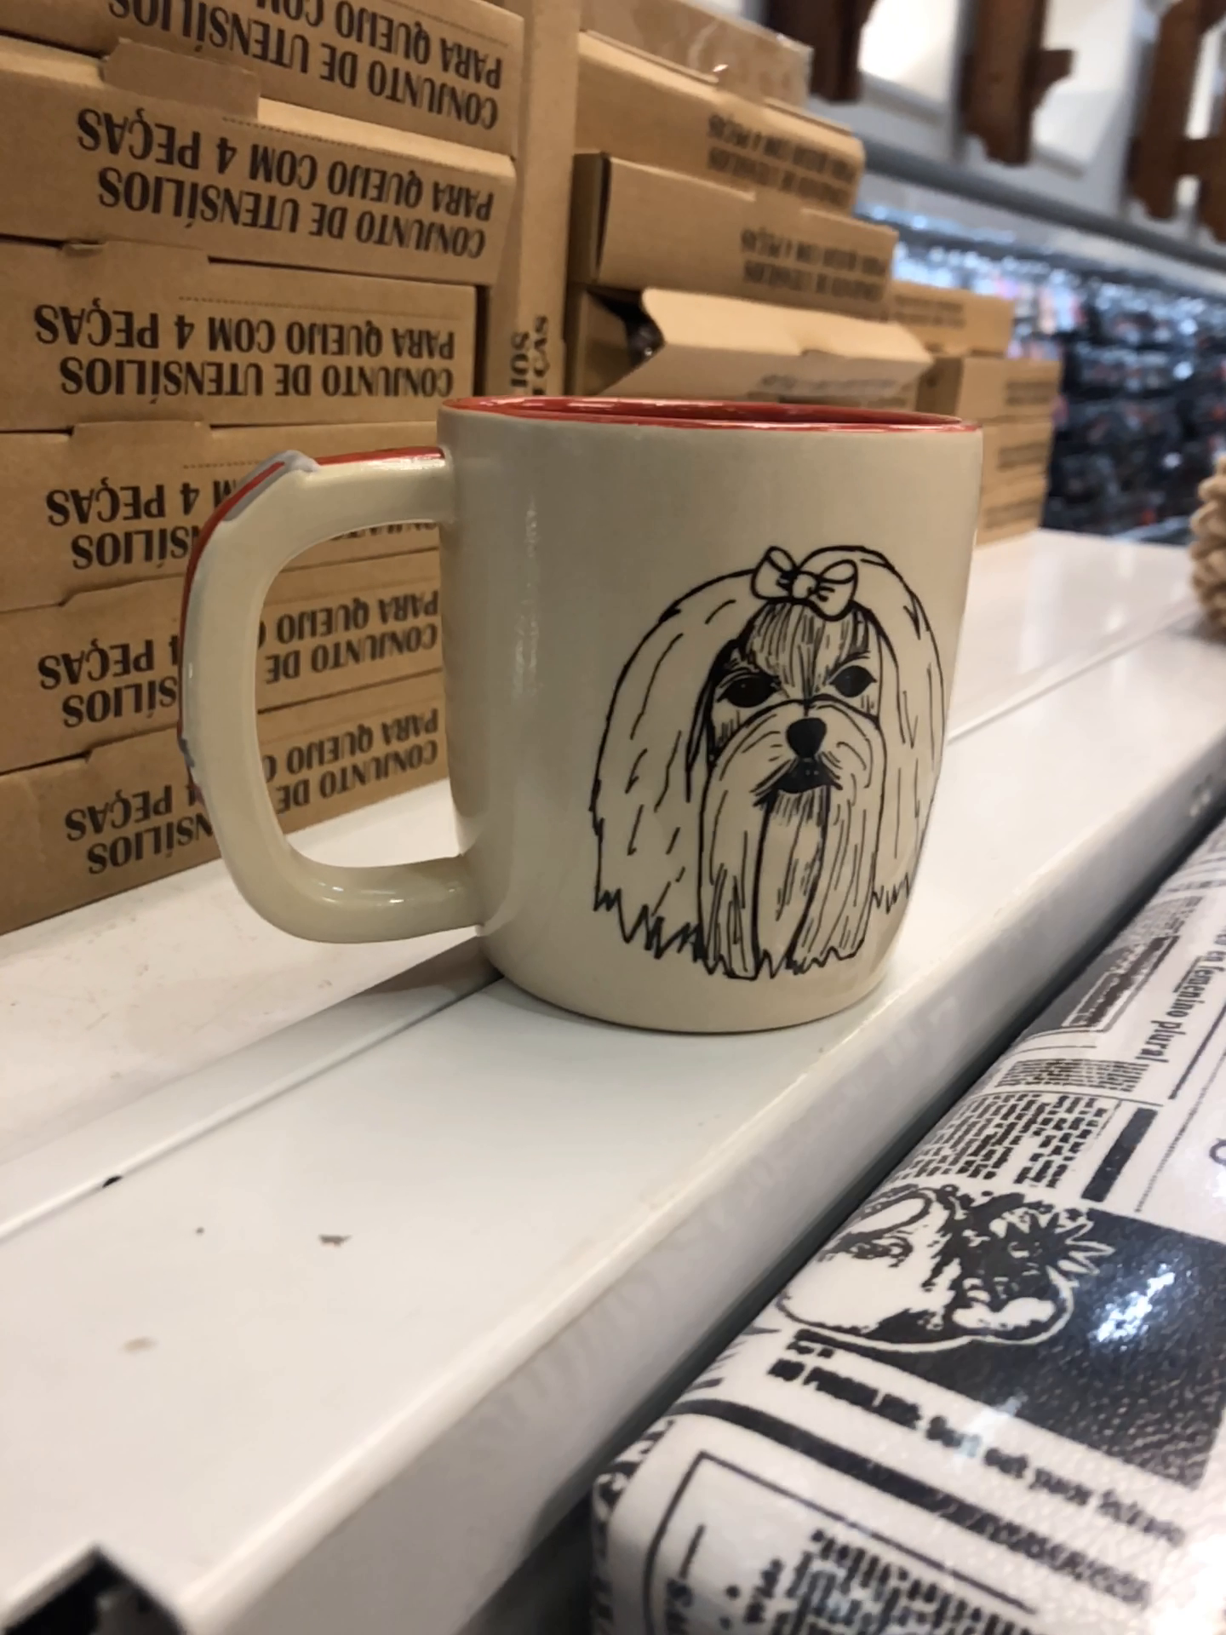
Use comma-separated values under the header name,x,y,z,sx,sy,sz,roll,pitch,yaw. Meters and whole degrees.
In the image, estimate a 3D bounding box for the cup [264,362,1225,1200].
name,x,y,z,sx,sy,sz,roll,pitch,yaw
cup,0.021,-0.020,0.211,0.120,0.089,0.090,-9,21,-30
